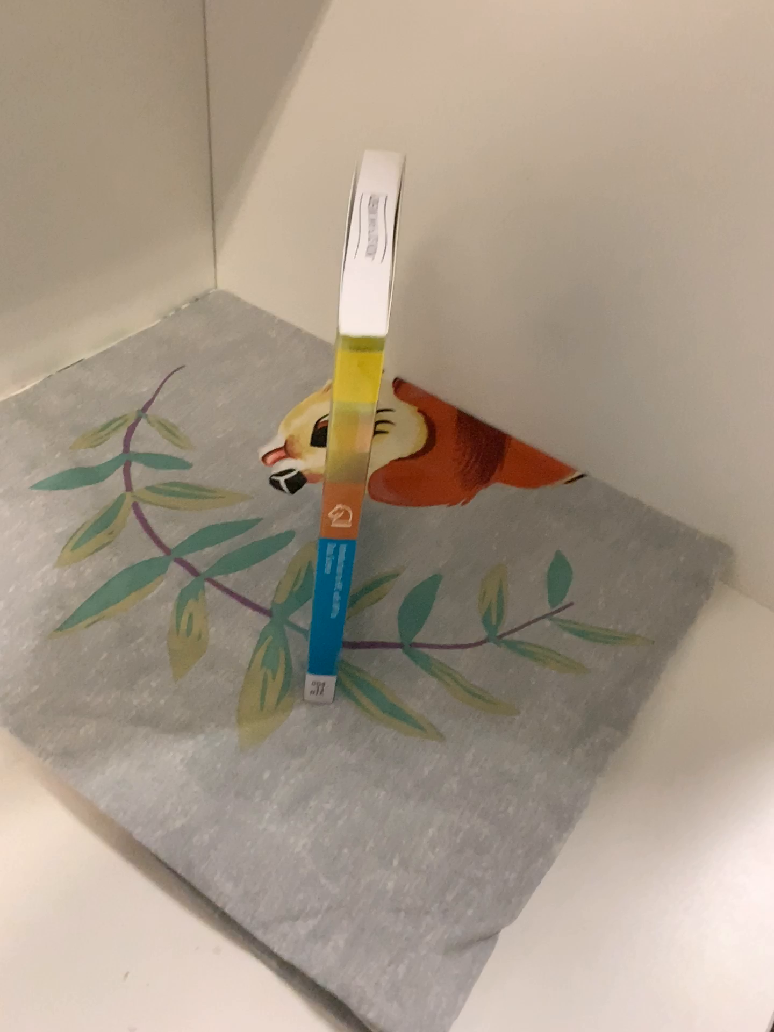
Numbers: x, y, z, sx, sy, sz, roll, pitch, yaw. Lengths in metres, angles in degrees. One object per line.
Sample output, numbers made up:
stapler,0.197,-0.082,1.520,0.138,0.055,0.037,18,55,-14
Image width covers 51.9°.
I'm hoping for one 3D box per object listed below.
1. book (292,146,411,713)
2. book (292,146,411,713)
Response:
book,-0.020,-0.037,0.405,0.030,0.228,0.172,6,45,-4
book,-0.020,-0.037,0.405,0.030,0.228,0.172,6,45,-4
